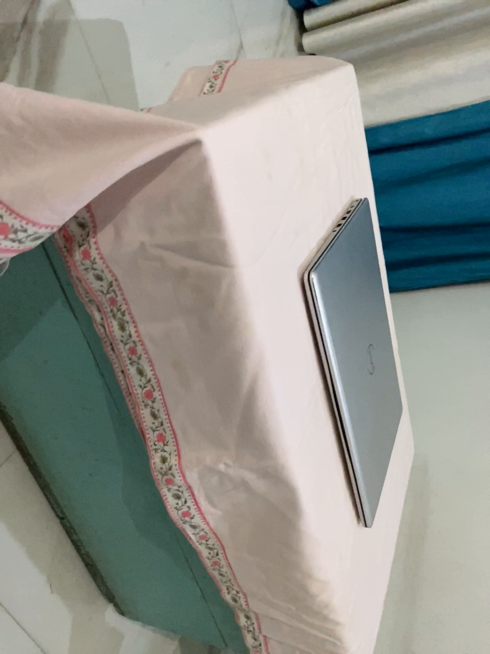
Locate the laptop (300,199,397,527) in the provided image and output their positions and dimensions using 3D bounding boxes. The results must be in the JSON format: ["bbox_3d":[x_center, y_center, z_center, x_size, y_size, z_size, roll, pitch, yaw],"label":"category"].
[{"bbox_3d":[0.152,0.044,0.653,0.237,0.004,0.360,-51,132,-49],"label":"laptop"}]
